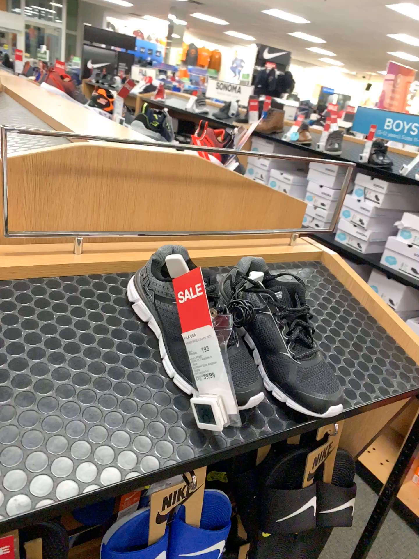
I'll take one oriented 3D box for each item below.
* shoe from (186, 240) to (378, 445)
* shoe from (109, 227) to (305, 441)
[{"bbox_3d":[0.080,0.068,0.565,0.100,0.089,0.245,-17,53,-30],"label":"shoe"},{"bbox_3d":[-0.016,0.050,0.527,0.100,0.089,0.245,-11,50,-40],"label":"shoe"}]
